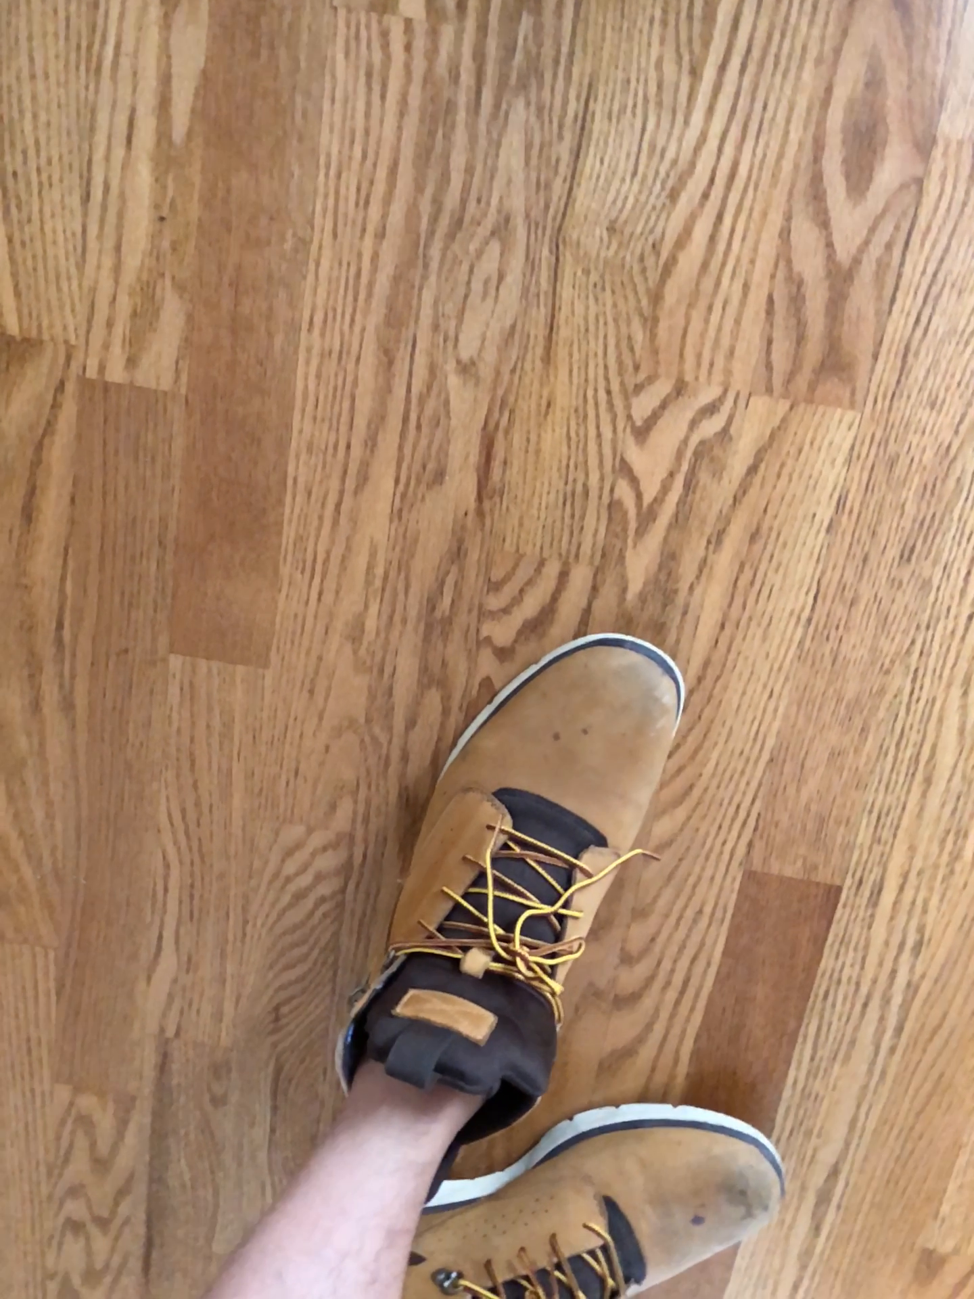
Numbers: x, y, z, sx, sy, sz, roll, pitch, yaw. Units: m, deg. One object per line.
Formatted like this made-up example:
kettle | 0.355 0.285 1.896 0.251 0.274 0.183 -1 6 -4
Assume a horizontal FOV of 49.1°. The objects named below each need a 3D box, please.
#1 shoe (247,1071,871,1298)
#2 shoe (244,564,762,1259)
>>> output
shoe | 0.048 0.381 0.625 0.300 0.170 0.130 -19 102 22
shoe | 0.005 0.130 0.589 0.130 0.140 0.320 25 98 -2
